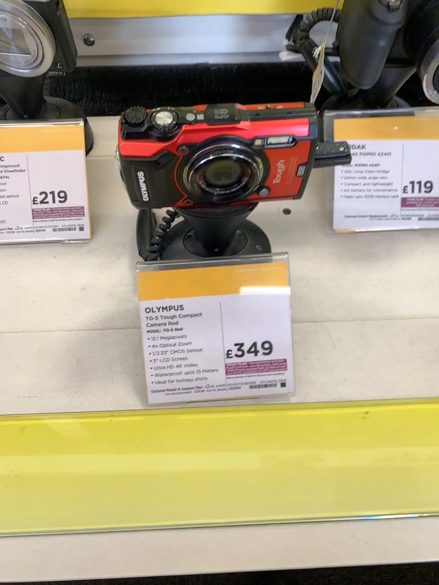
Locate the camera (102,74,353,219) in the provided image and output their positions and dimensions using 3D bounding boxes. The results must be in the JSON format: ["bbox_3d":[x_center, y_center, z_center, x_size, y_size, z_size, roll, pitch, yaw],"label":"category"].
[{"bbox_3d":[0.003,-0.078,0.251,0.120,0.060,0.040,-4,63,-3],"label":"camera"}]
